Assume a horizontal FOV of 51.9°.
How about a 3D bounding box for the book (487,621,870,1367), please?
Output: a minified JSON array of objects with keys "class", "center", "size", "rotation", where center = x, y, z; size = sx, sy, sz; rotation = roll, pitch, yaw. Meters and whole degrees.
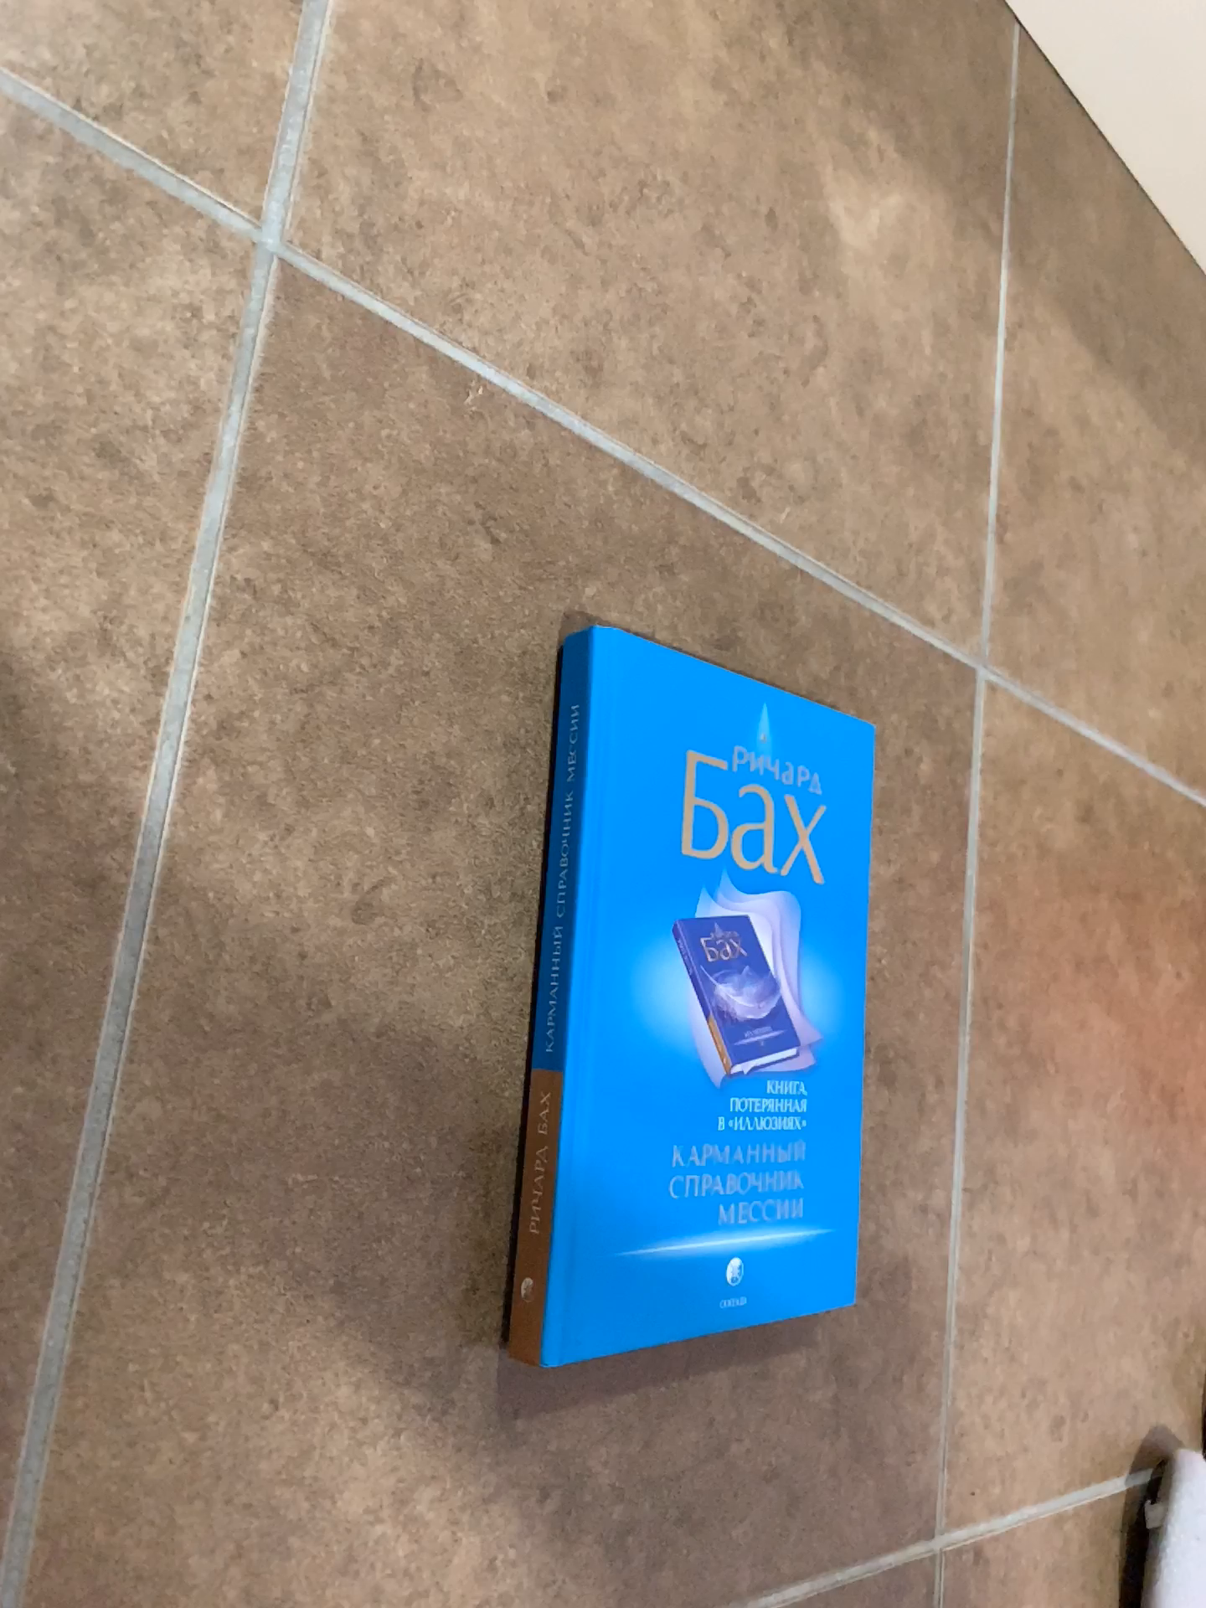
[{"class":"book","center":[0.028,0.050,0.330],"size":[0.123,0.015,0.169],"rotation":[13,76,-43]}]
